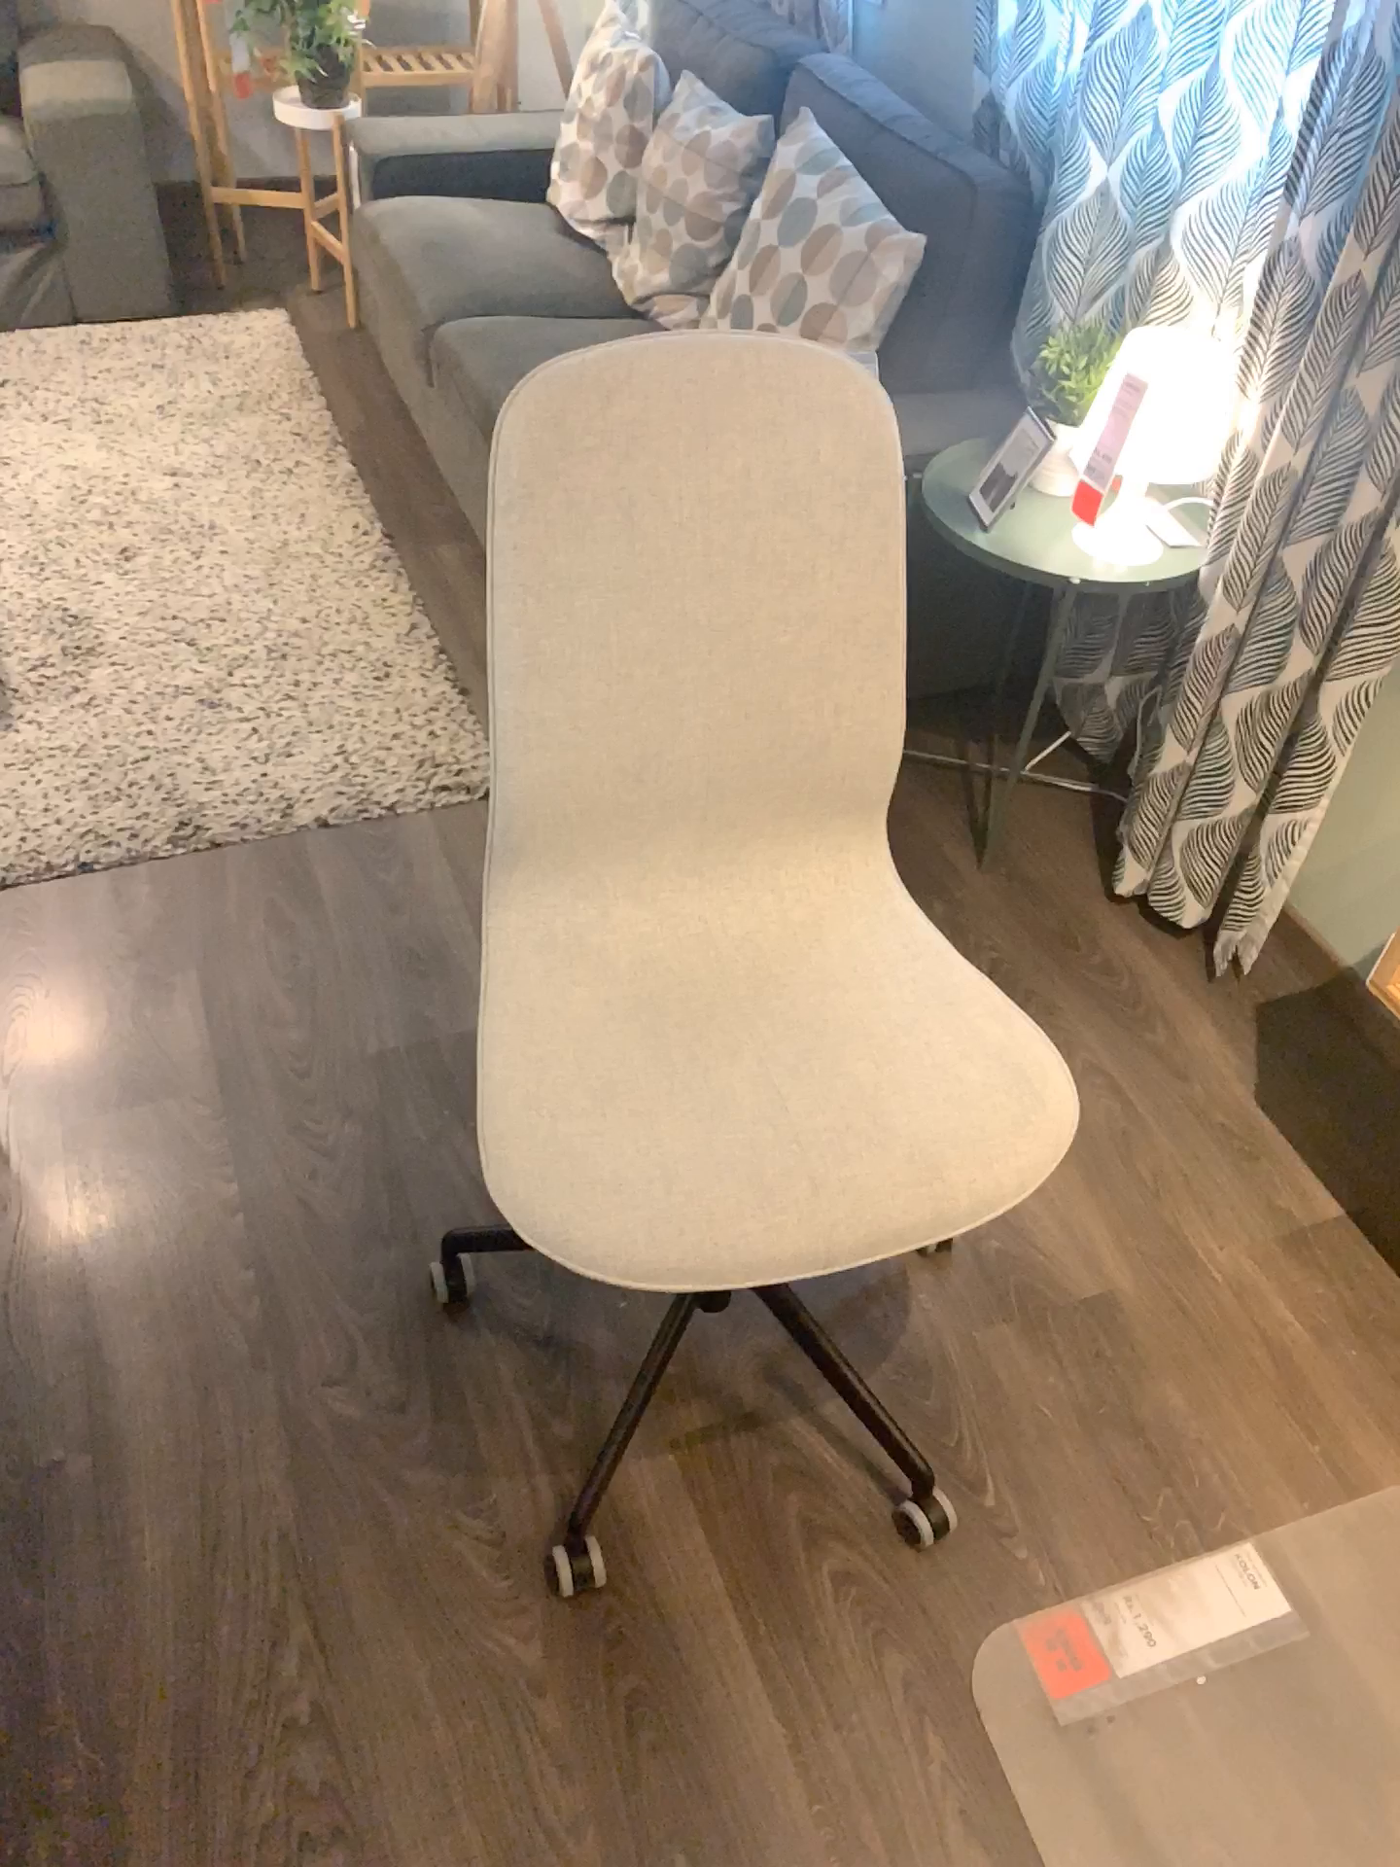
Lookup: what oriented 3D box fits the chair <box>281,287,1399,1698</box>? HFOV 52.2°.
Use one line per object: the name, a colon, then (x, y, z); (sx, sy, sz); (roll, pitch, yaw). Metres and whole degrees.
chair: (0.042, 0.063, 1.329); (0.630, 1.006, 0.712); (-11, 46, -18)
